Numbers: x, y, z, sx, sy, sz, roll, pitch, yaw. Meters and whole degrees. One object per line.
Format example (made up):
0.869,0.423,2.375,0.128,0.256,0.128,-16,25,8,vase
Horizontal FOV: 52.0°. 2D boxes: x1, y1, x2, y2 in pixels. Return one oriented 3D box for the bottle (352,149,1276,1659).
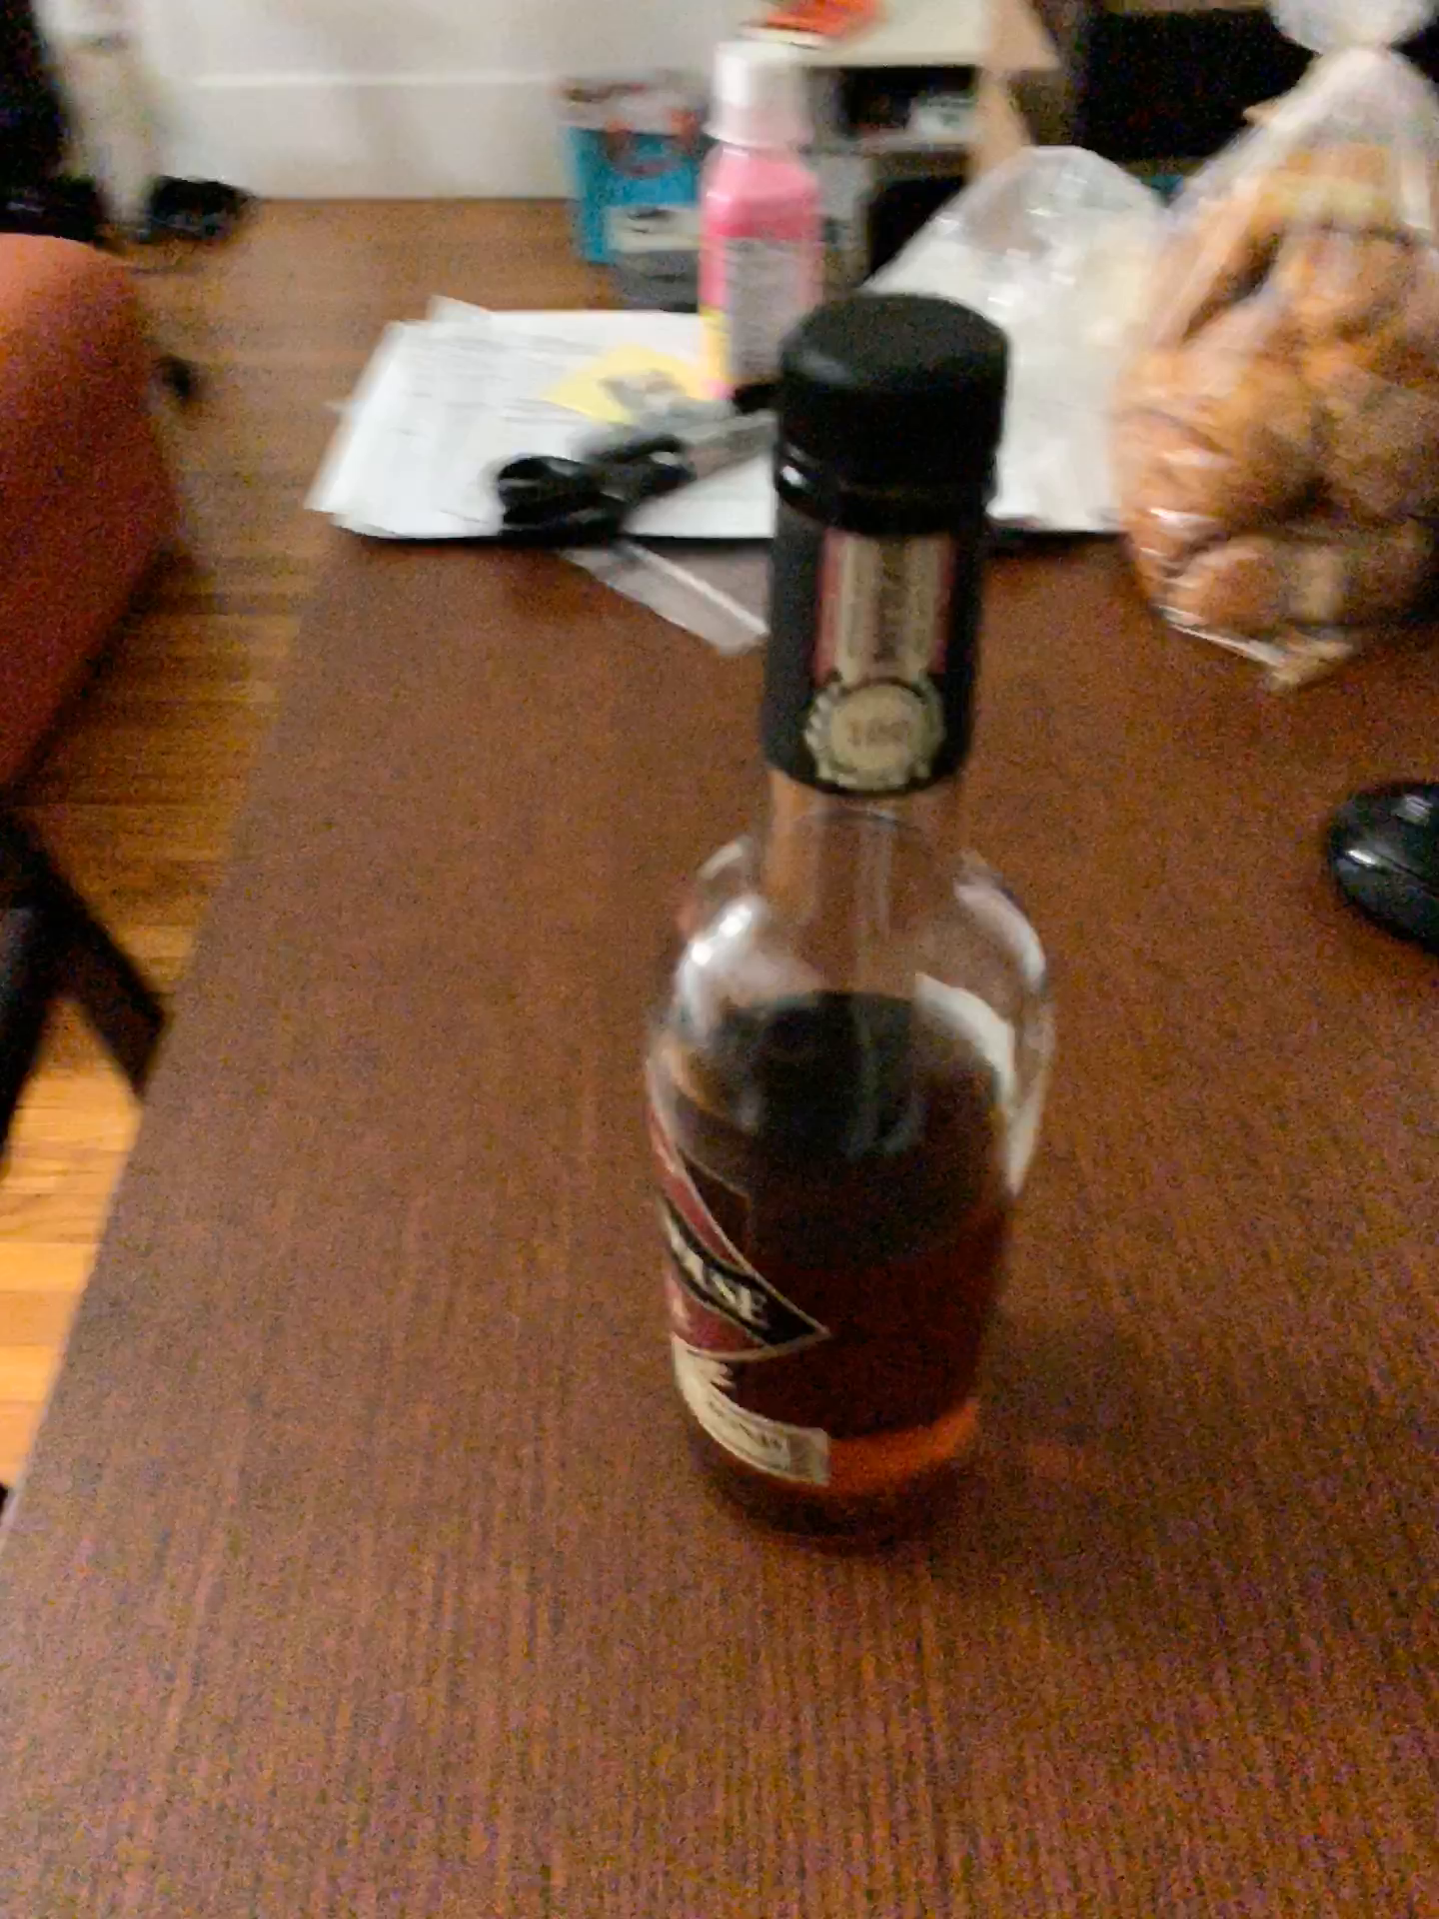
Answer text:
0.007,0.022,0.280,0.090,0.288,0.091,-1,45,1,bottle
